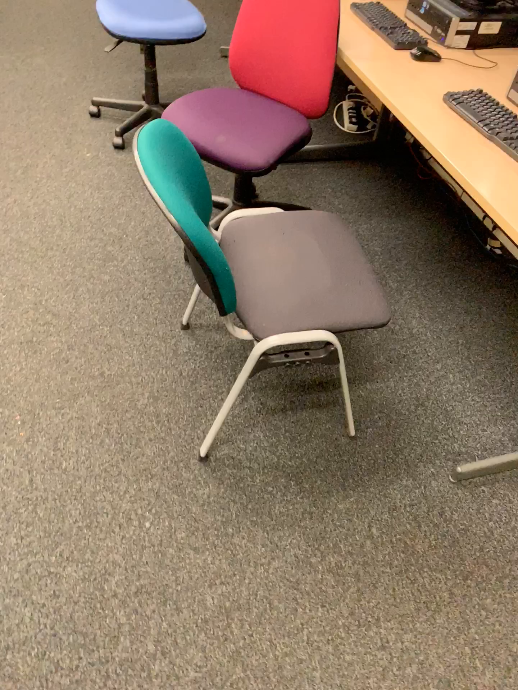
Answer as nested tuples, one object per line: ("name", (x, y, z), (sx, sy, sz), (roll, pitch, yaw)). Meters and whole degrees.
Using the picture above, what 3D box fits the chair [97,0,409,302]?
("chair", (-0.030, -0.784, 1.838), (0.654, 0.860, 0.673), (28, 50, 18))

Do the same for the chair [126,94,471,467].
("chair", (0.007, -0.156, 1.354), (0.598, 0.721, 0.557), (-5, 48, -13))
